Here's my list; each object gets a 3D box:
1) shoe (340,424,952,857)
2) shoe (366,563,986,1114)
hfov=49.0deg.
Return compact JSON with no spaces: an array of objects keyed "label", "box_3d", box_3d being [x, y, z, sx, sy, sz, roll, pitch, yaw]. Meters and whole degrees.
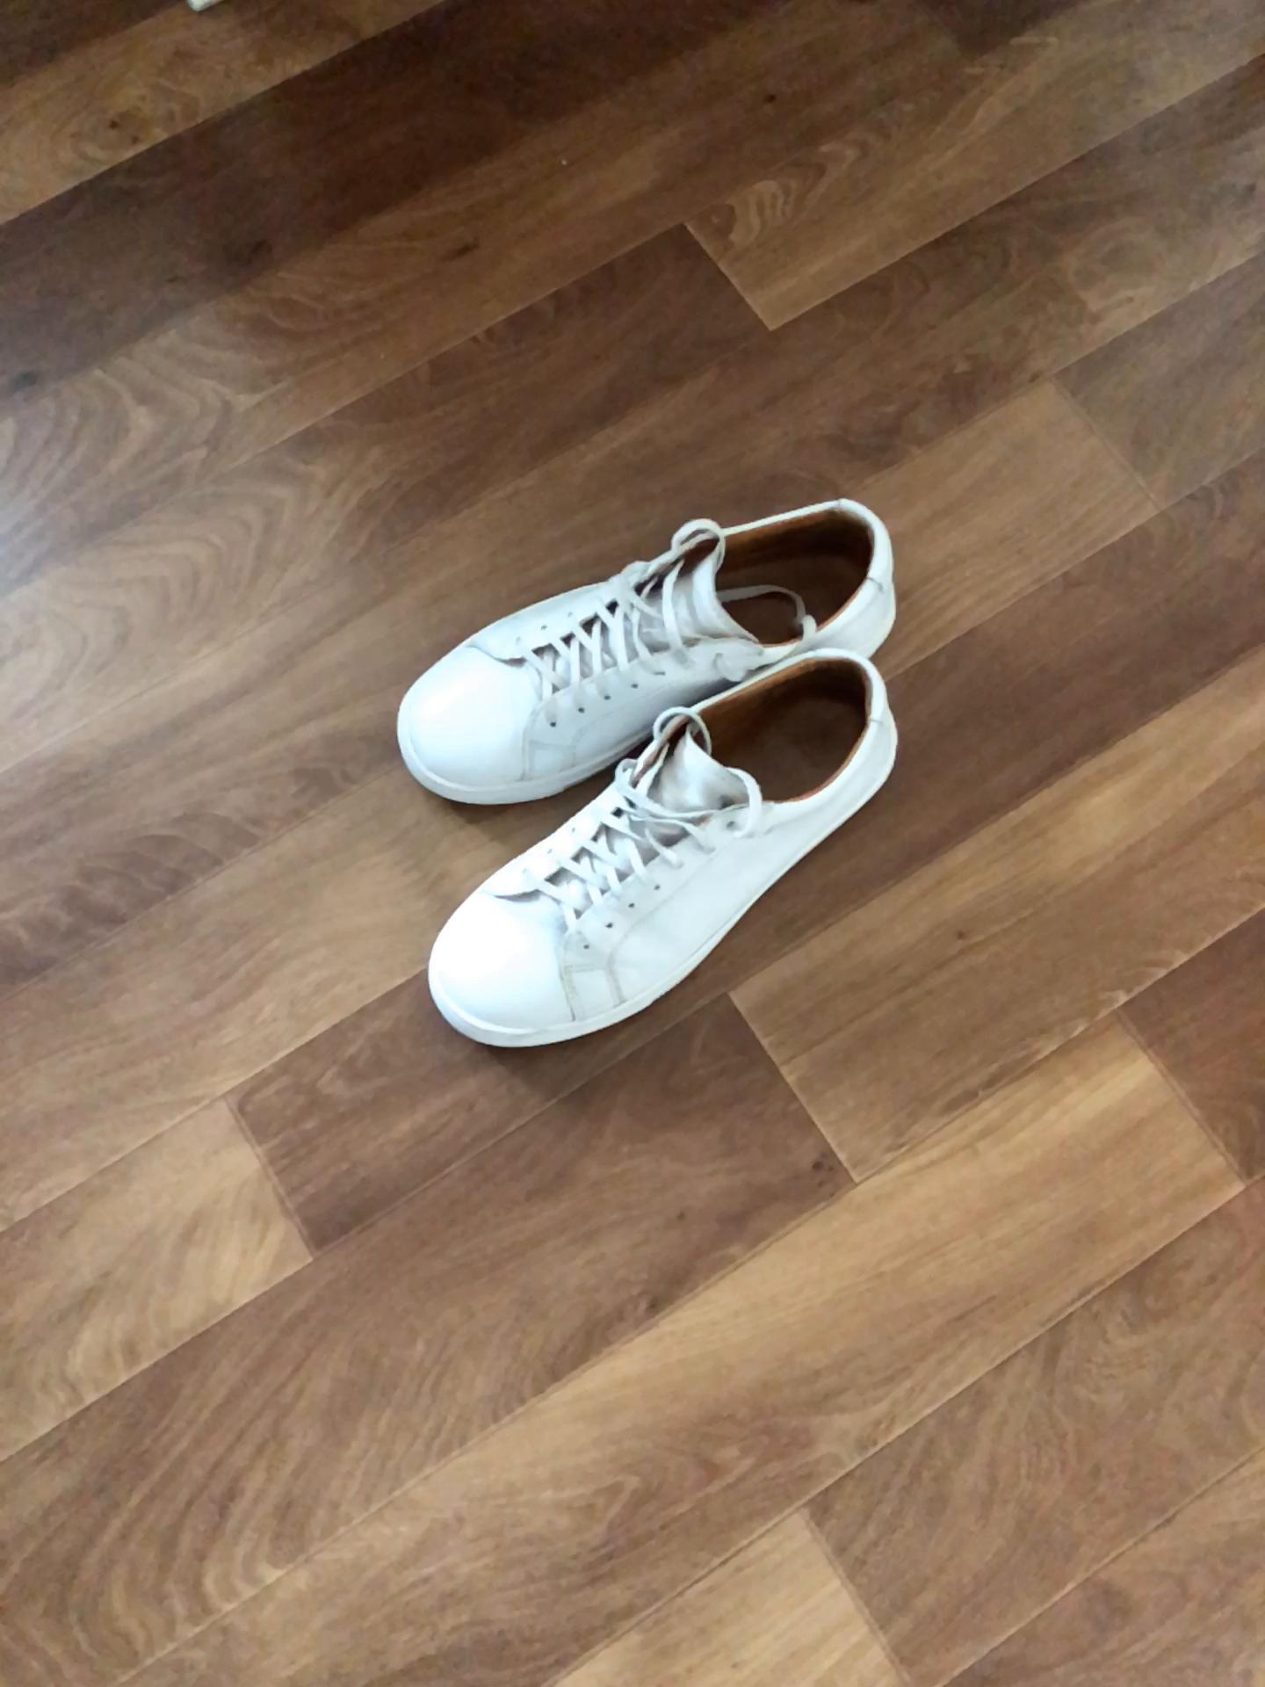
[{"label":"shoe","box_3d":[0.007,-0.103,0.724,0.280,0.090,0.110,-20,74,-4]},{"label":"shoe","box_3d":[0.023,-0.001,0.689,0.280,0.090,0.110,-37,76,-9]}]
